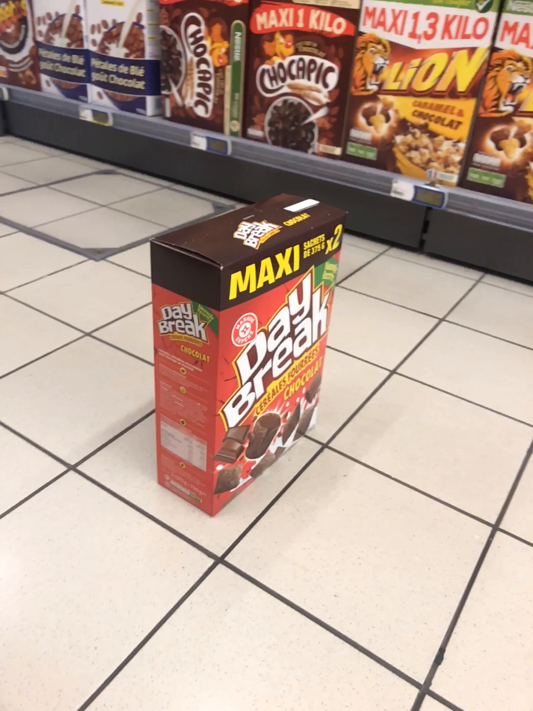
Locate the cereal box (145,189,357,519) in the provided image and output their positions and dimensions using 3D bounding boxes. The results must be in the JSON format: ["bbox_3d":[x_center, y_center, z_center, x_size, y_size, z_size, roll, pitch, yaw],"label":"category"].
[{"bbox_3d":[-0.015,-0.007,0.617,0.090,0.278,0.201,25,37,29],"label":"cereal box"}]
